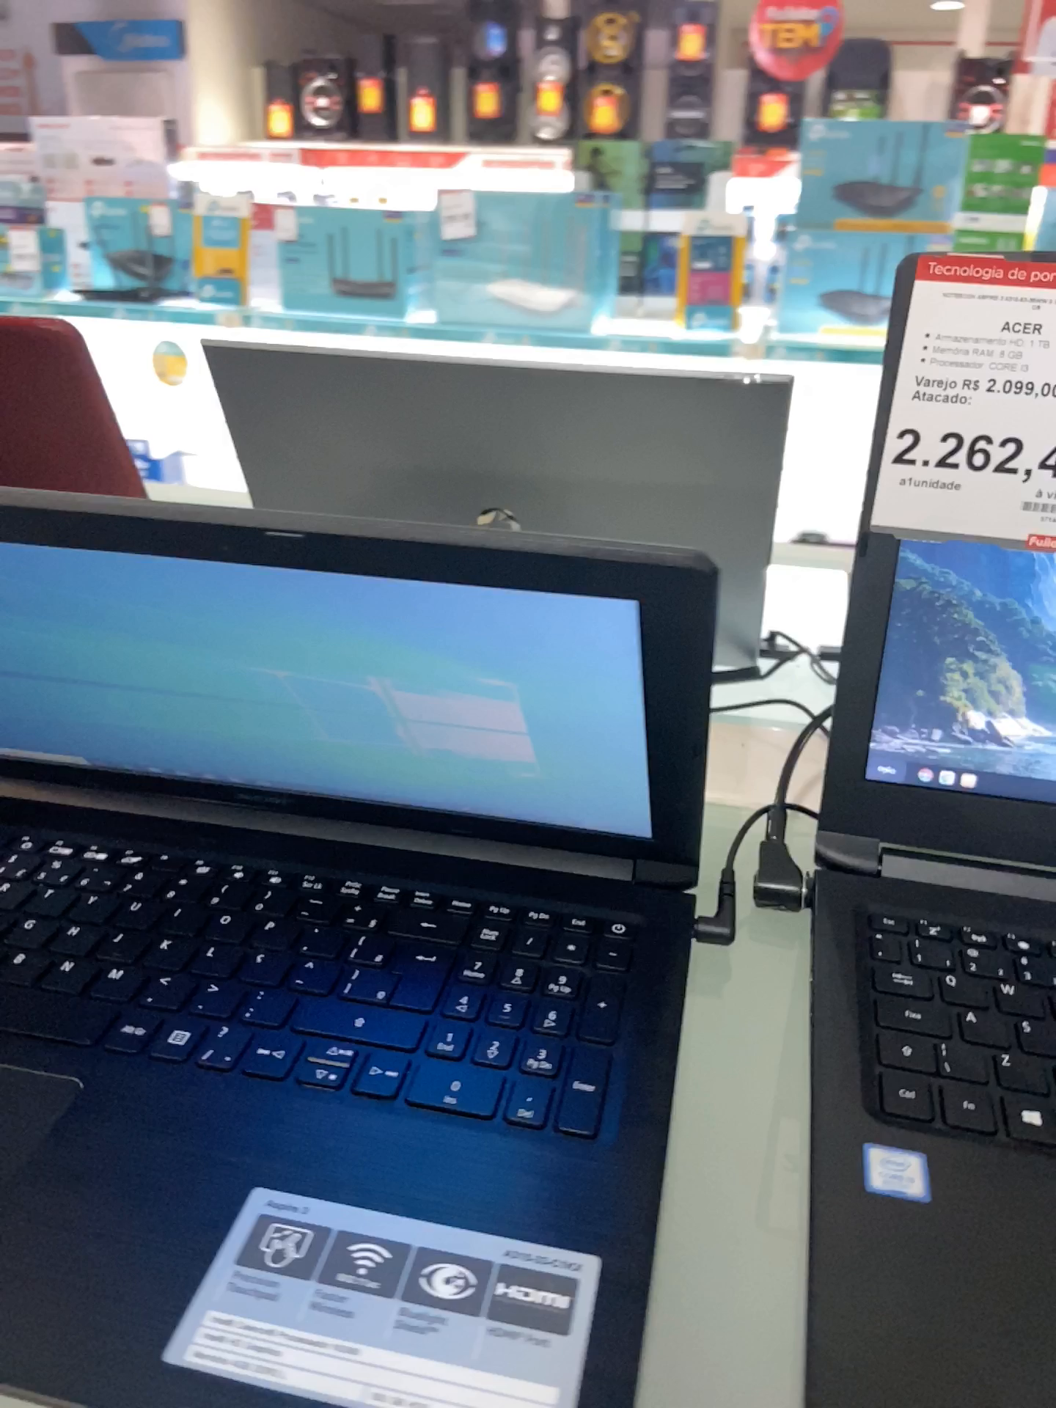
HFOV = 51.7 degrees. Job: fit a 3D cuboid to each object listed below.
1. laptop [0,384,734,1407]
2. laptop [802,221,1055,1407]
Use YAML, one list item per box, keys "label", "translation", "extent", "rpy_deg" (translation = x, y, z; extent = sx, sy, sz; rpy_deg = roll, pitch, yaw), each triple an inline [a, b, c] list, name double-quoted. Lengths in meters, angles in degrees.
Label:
- label: "laptop"
  translation: [-0.141, 0.023, 0.337]
  extent: [0.379, 0.185, 0.240]
  rpy_deg: [6, 25, 11]
- label: "laptop"
  translation: [0.294, 0.020, 0.287]
  extent: [0.398, 0.247, 0.285]
  rpy_deg: [7, 25, 12]
